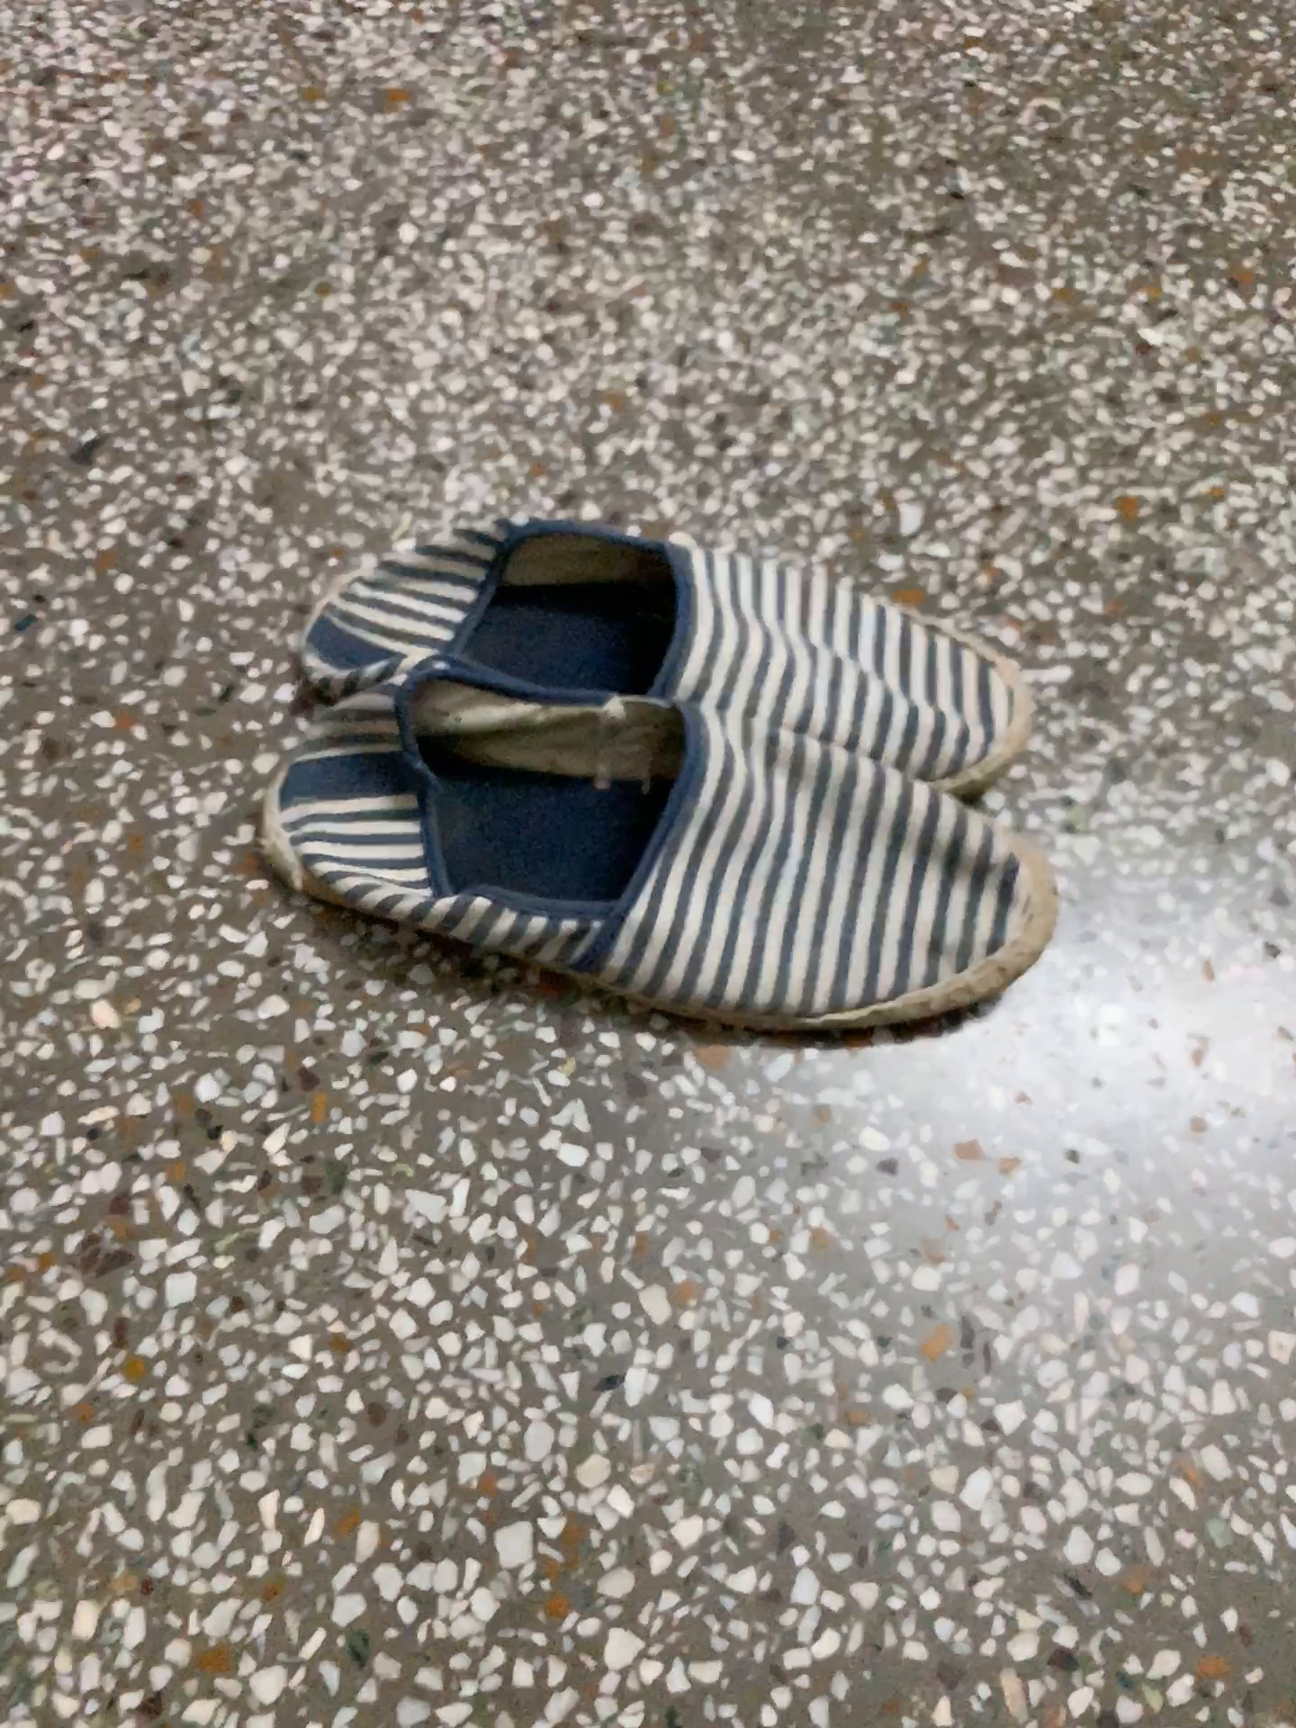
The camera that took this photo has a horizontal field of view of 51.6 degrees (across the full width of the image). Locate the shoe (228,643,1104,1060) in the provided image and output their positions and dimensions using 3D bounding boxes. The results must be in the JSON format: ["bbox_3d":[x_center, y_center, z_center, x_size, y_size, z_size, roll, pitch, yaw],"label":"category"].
[{"bbox_3d":[0.010,-0.005,0.484,0.290,0.050,0.100,8,64,0],"label":"shoe"}]

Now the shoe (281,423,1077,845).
[{"bbox_3d":[0.015,-0.092,0.533,0.290,0.050,0.100,12,64,2],"label":"shoe"}]
